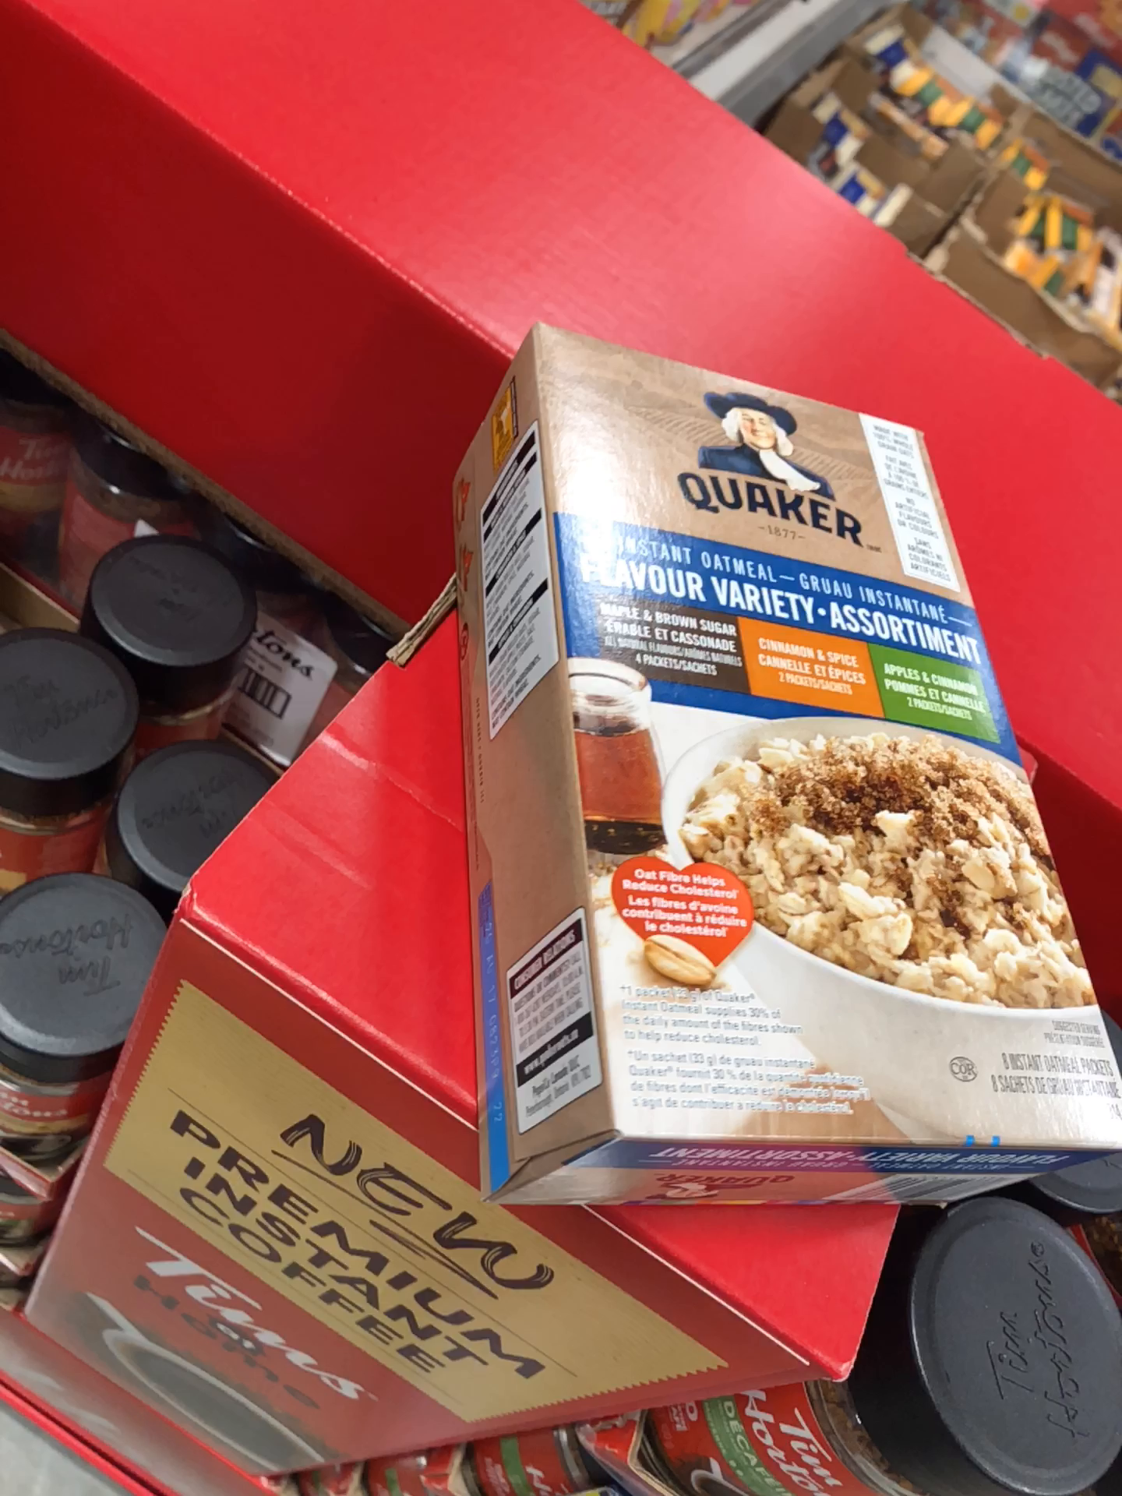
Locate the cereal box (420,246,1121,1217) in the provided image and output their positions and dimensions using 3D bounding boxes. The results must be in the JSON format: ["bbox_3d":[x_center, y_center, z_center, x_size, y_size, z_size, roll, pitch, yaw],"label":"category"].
[{"bbox_3d":[0.044,-0.003,0.304,0.140,0.070,0.210,9,59,-22],"label":"cereal box"}]
